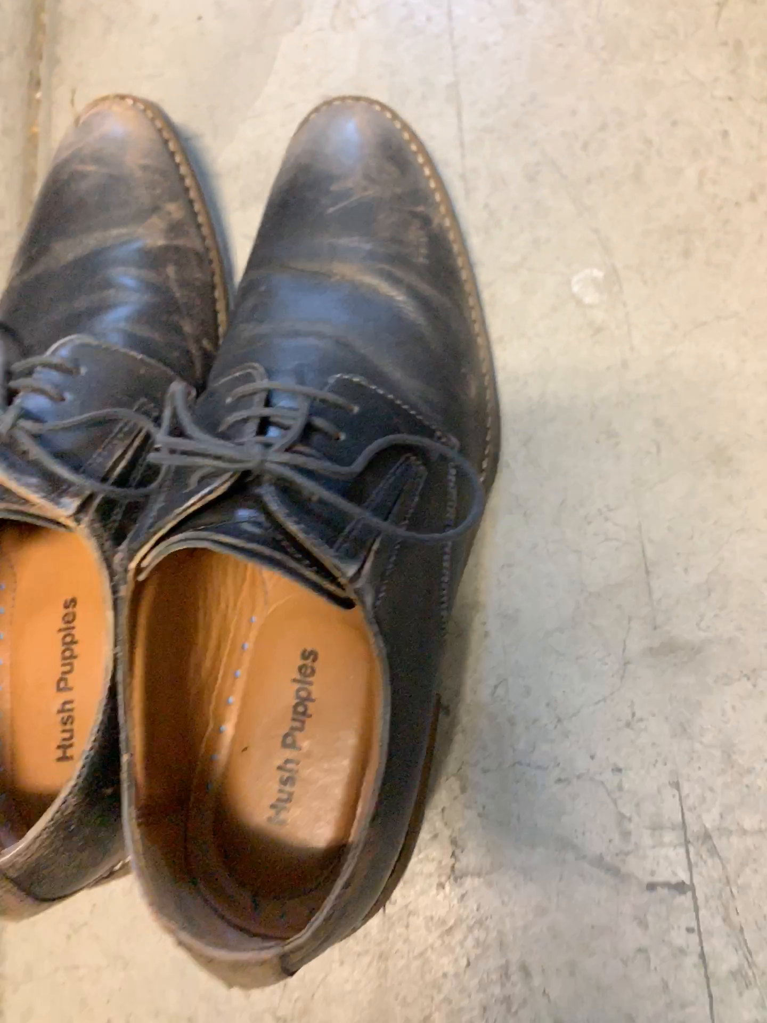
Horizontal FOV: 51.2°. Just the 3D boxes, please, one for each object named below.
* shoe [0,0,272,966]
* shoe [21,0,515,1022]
[{"bbox_3d":[-0.120,-0.029,0.294,0.110,0.120,0.310,-1,78,10],"label":"shoe"},{"bbox_3d":[-0.015,-0.018,0.271,0.110,0.120,0.304,1,79,11],"label":"shoe"}]
